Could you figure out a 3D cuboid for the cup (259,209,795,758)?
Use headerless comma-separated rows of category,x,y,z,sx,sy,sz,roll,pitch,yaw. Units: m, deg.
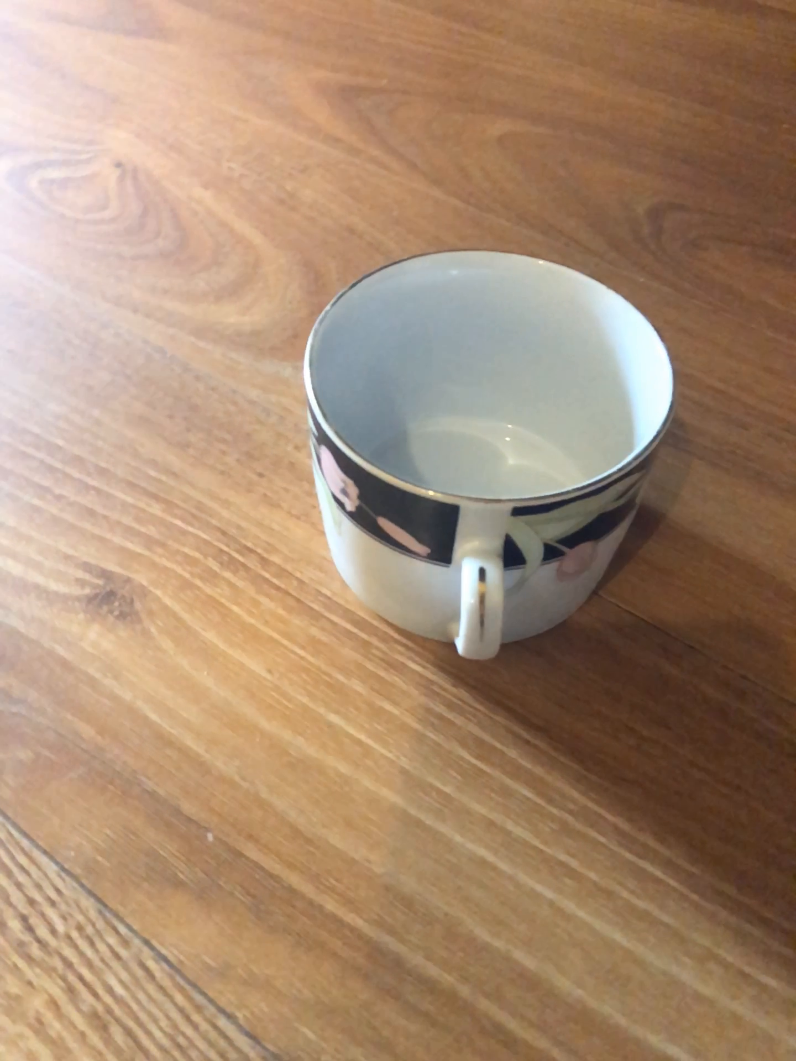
cup,0.024,-0.014,0.205,0.090,0.060,0.111,3,53,1
